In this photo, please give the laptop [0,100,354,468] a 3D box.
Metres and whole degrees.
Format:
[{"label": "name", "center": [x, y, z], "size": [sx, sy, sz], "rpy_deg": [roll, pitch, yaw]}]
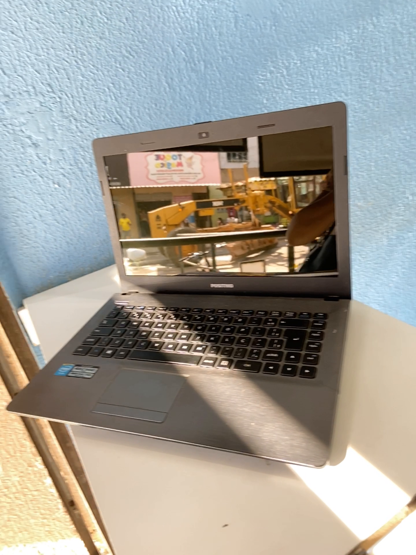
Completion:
[{"label": "laptop", "center": [-0.037, -0.024, 0.458], "size": [0.334, 0.212, 0.284], "rpy_deg": [0, 29, 25]}]
